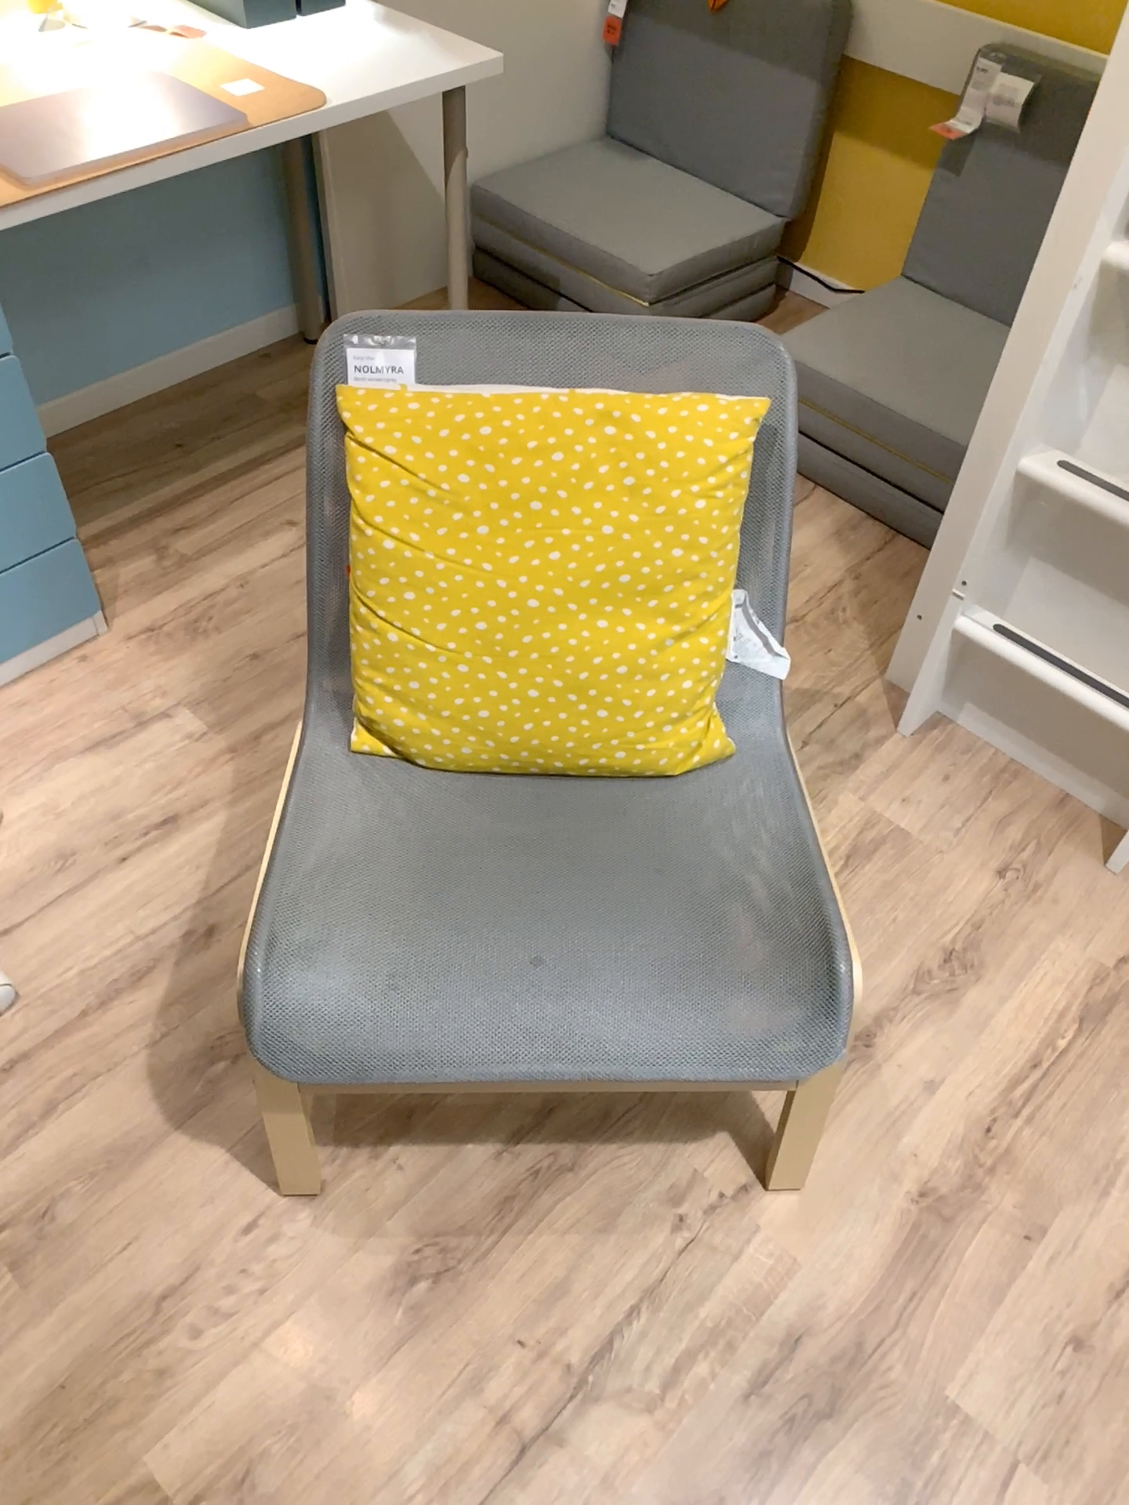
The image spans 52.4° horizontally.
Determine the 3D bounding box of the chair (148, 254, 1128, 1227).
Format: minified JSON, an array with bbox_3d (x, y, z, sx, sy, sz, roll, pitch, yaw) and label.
[{"bbox_3d":[0.043,0.003,1.169,0.630,0.708,0.672,1,46,-4],"label":"chair"}]
